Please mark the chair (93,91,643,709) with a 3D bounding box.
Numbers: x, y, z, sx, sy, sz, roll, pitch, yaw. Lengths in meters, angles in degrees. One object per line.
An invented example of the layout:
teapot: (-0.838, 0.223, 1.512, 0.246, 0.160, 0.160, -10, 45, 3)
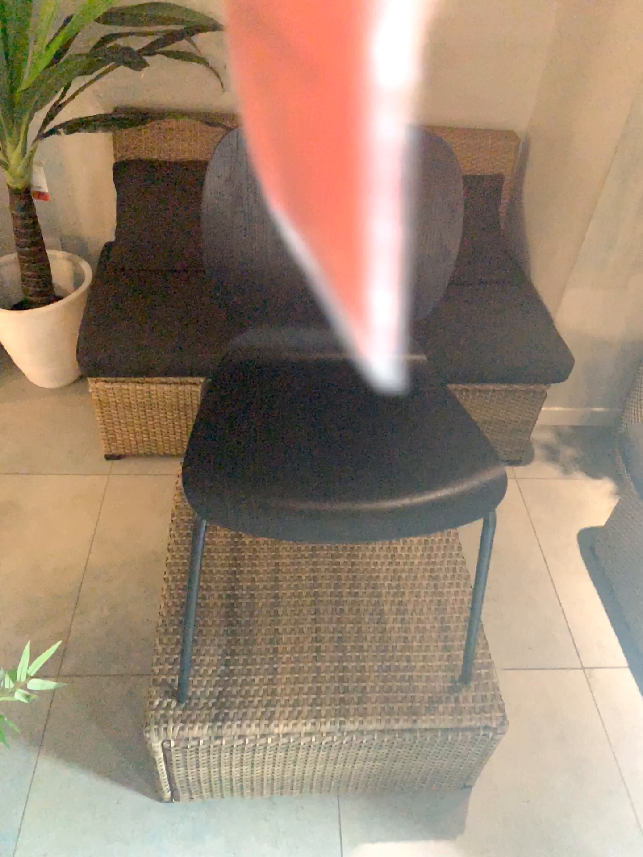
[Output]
chair: (0.014, -0.021, 1.035, 0.530, 0.767, 0.562, -1, 43, -7)
